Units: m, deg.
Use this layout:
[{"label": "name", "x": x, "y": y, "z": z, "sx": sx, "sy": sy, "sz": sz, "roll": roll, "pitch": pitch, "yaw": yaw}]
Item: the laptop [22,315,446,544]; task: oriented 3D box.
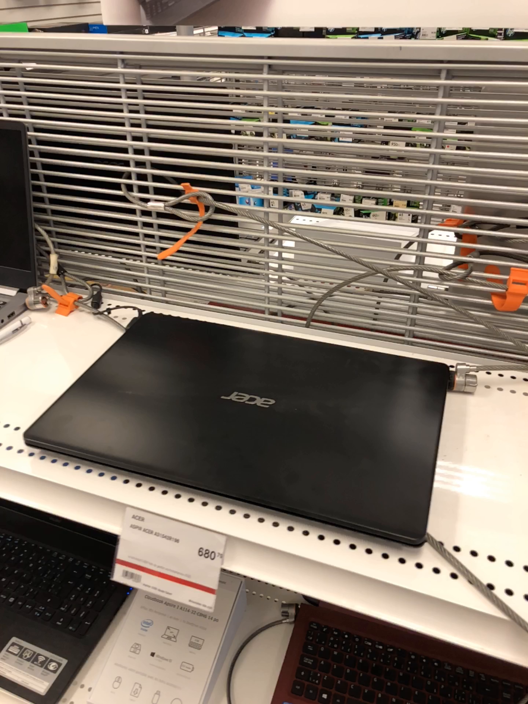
[{"label": "laptop", "x": -0.014, "y": 0.049, "z": 0.572, "sx": 0.355, "sy": 0.006, "sz": 0.232, "roll": 11, "pitch": 35, "yaw": 16}]
